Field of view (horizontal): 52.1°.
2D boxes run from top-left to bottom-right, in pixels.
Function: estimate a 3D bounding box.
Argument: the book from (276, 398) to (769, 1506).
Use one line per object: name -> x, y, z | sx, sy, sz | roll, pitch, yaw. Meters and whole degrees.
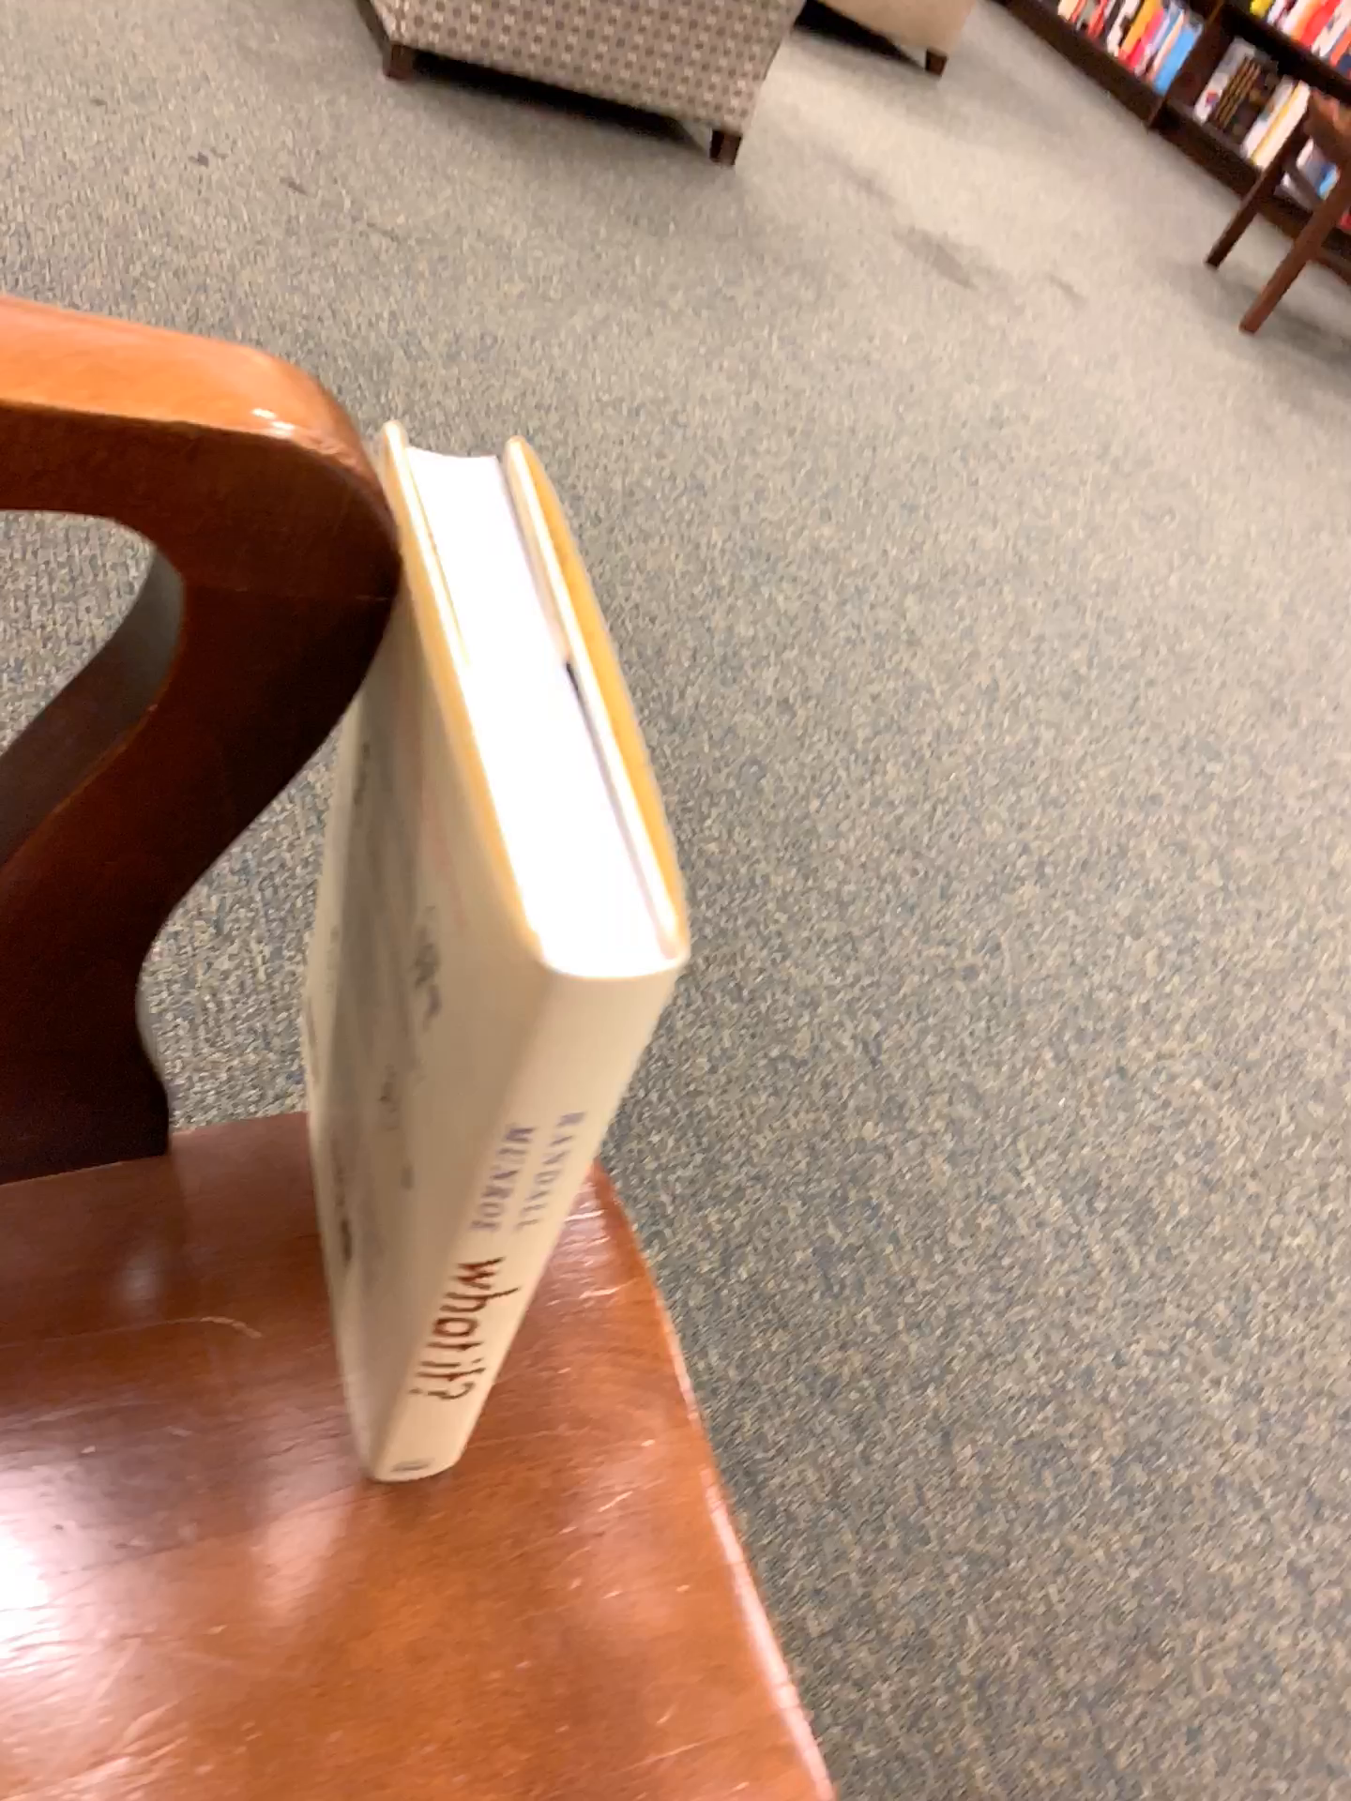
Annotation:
book -> -0.065, 0.023, 0.381 | 0.050, 0.239, 0.188 | -1, 48, -23
